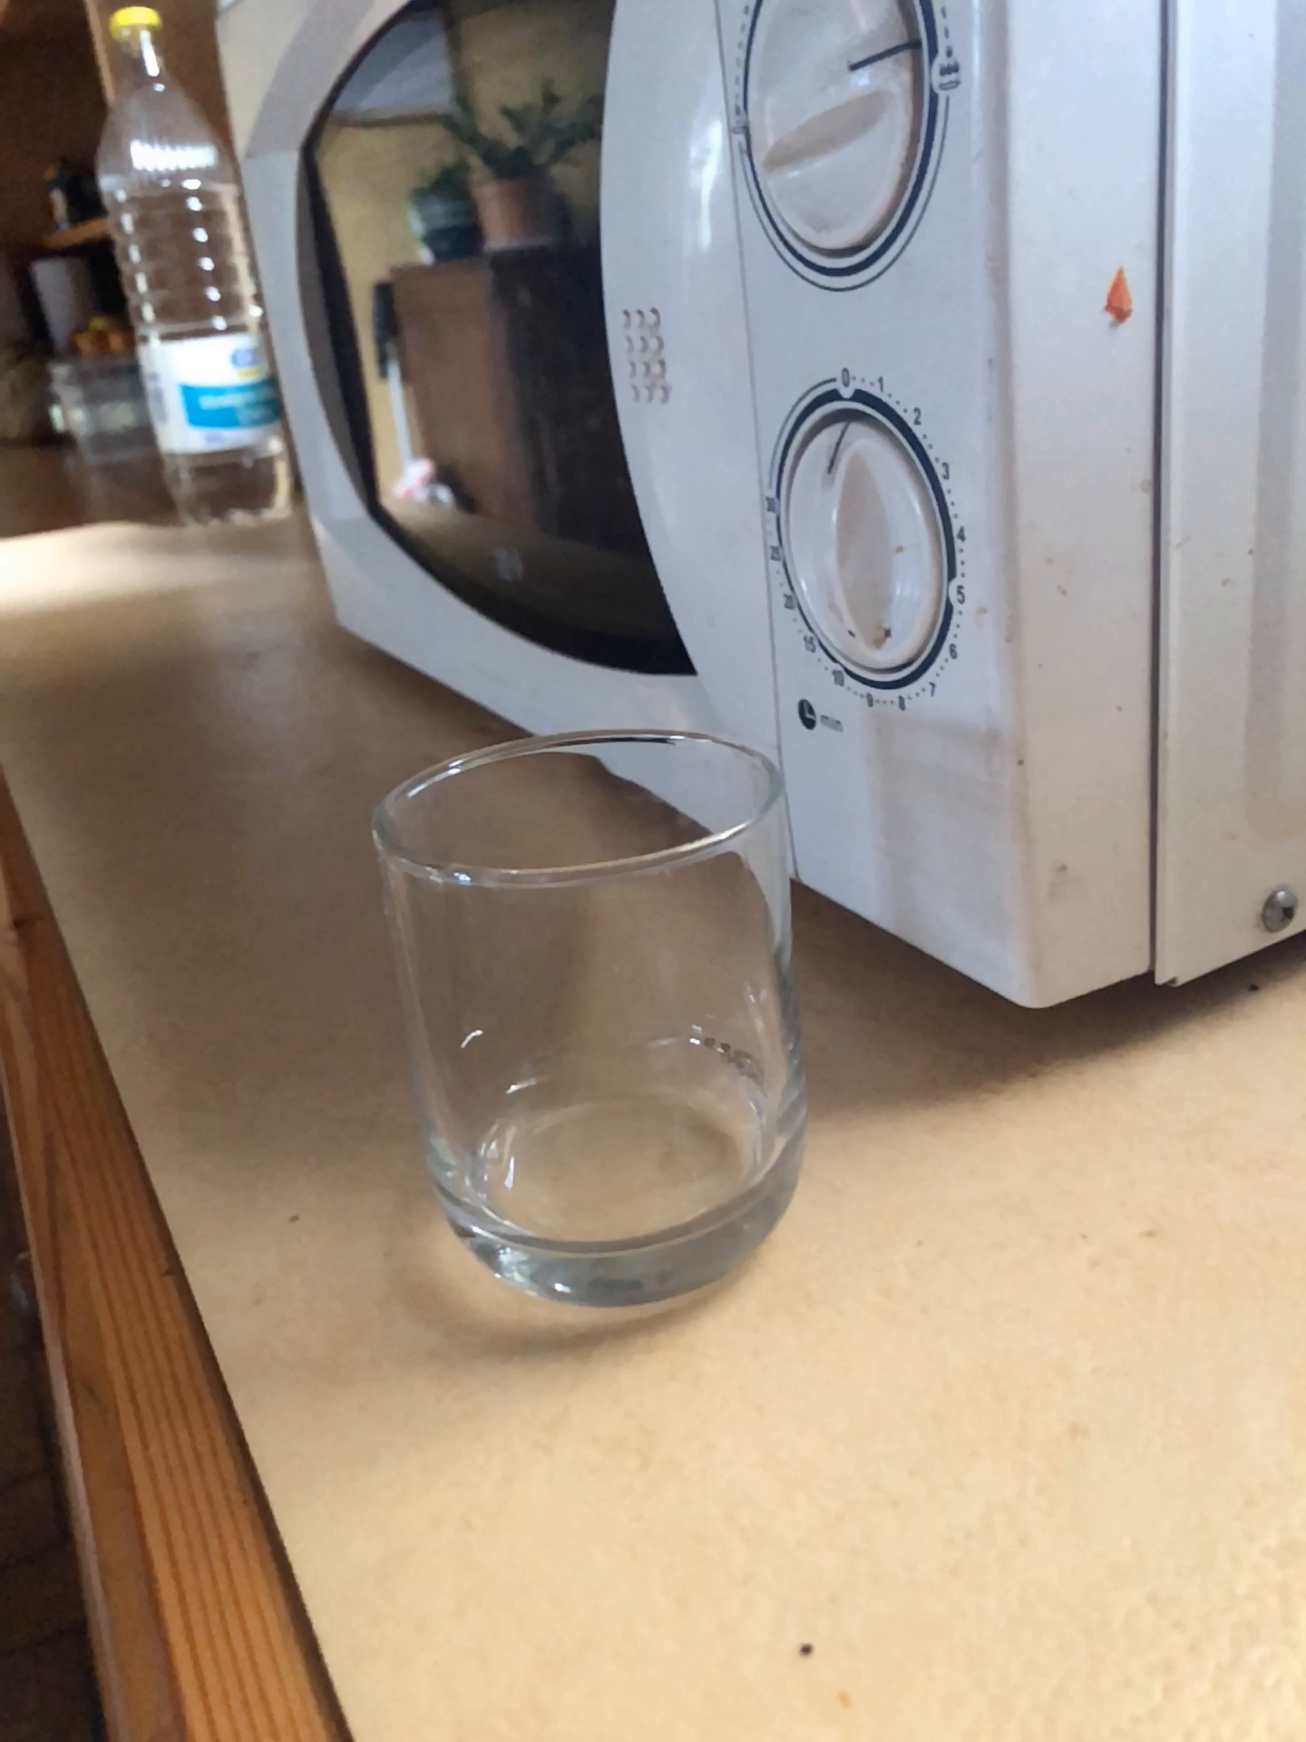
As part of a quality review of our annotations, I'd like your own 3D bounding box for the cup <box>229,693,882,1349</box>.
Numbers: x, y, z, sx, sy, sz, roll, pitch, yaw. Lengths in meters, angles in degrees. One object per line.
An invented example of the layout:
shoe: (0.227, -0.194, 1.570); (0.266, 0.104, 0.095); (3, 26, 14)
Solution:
cup: (-0.011, 0.017, 0.237); (0.070, 0.070, 0.070); (-5, 23, 2)
